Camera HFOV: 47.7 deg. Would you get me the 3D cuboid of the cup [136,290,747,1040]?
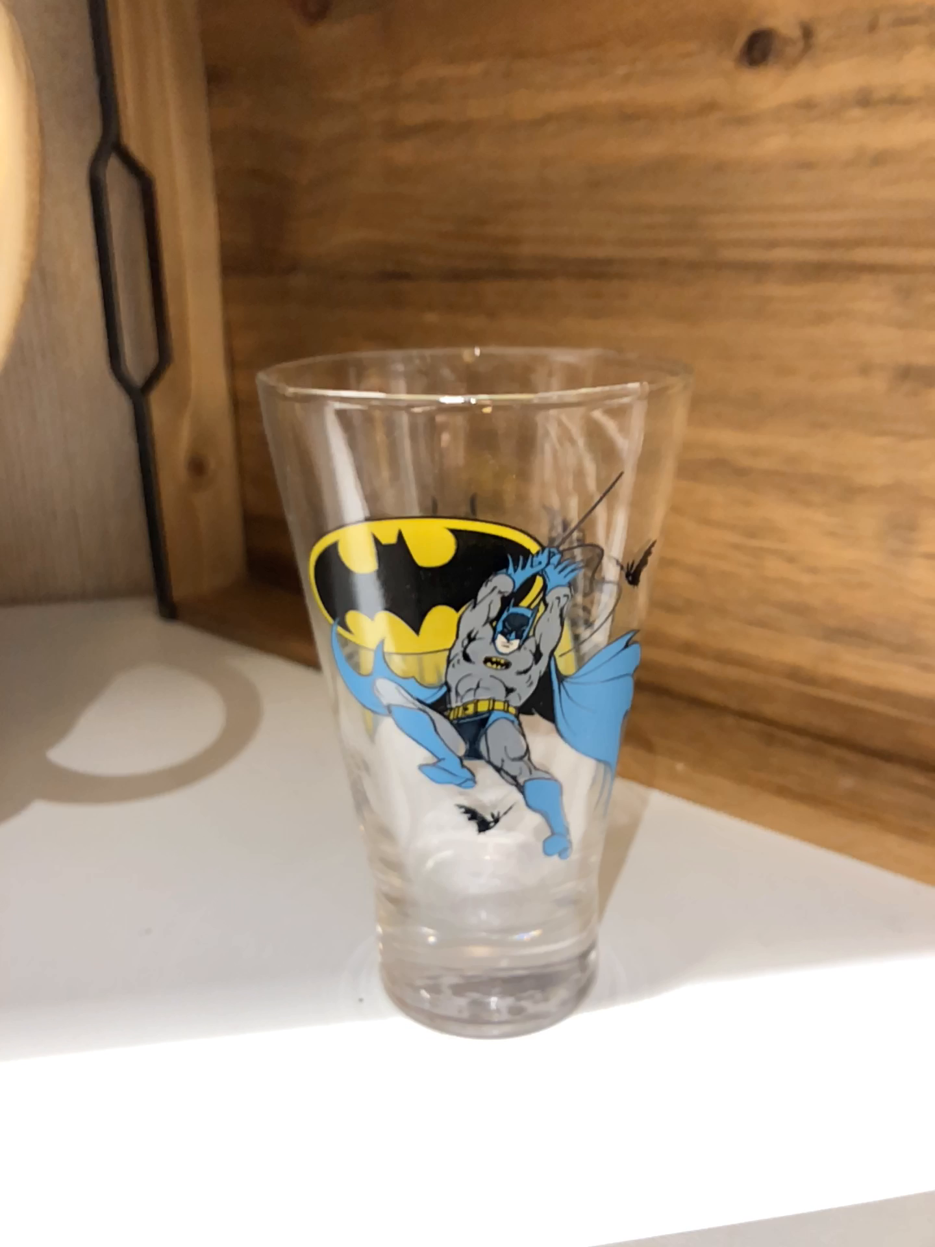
[{"bbox_3d":[-0.002,0.003,0.214,0.090,0.129,0.080,-1,19,1],"label":"cup"}]
